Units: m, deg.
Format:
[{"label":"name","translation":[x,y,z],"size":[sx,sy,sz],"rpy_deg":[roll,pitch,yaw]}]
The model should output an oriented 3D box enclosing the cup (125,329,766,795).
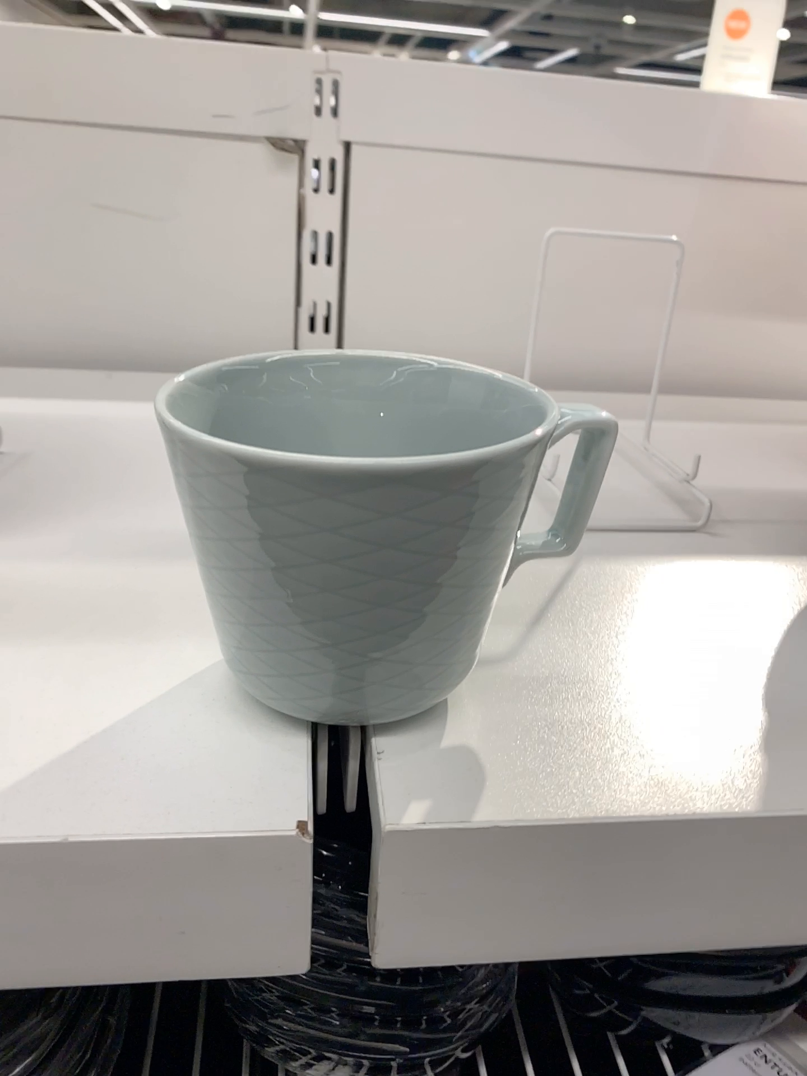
[{"label":"cup","translation":[0.008,-0.010,0.227],"size":[0.130,0.070,0.100],"rpy_deg":[-12,28,-34]}]
